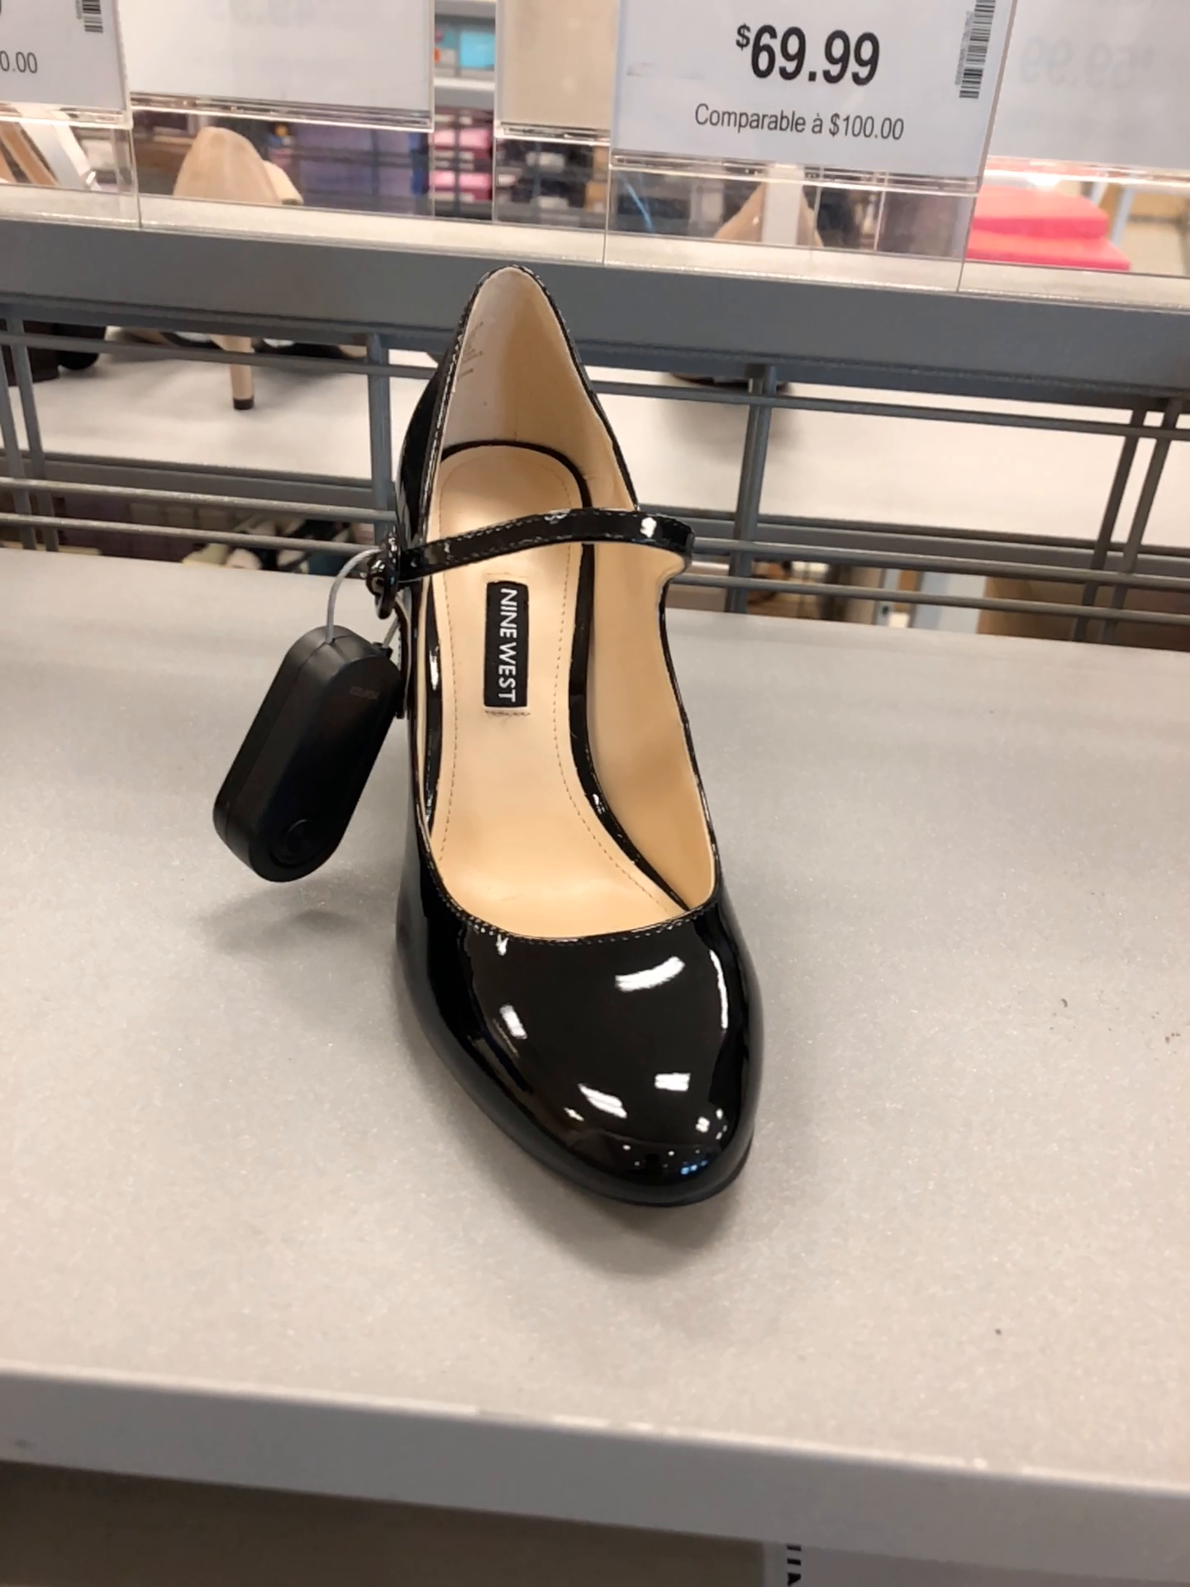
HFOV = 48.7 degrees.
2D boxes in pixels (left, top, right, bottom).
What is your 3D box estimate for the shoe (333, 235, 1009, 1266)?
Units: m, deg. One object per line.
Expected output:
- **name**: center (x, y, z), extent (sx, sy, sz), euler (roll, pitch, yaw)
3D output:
- **shoe**: center (-0.012, -0.039, 0.344), extent (0.090, 0.151, 0.258), euler (-4, 33, -13)
